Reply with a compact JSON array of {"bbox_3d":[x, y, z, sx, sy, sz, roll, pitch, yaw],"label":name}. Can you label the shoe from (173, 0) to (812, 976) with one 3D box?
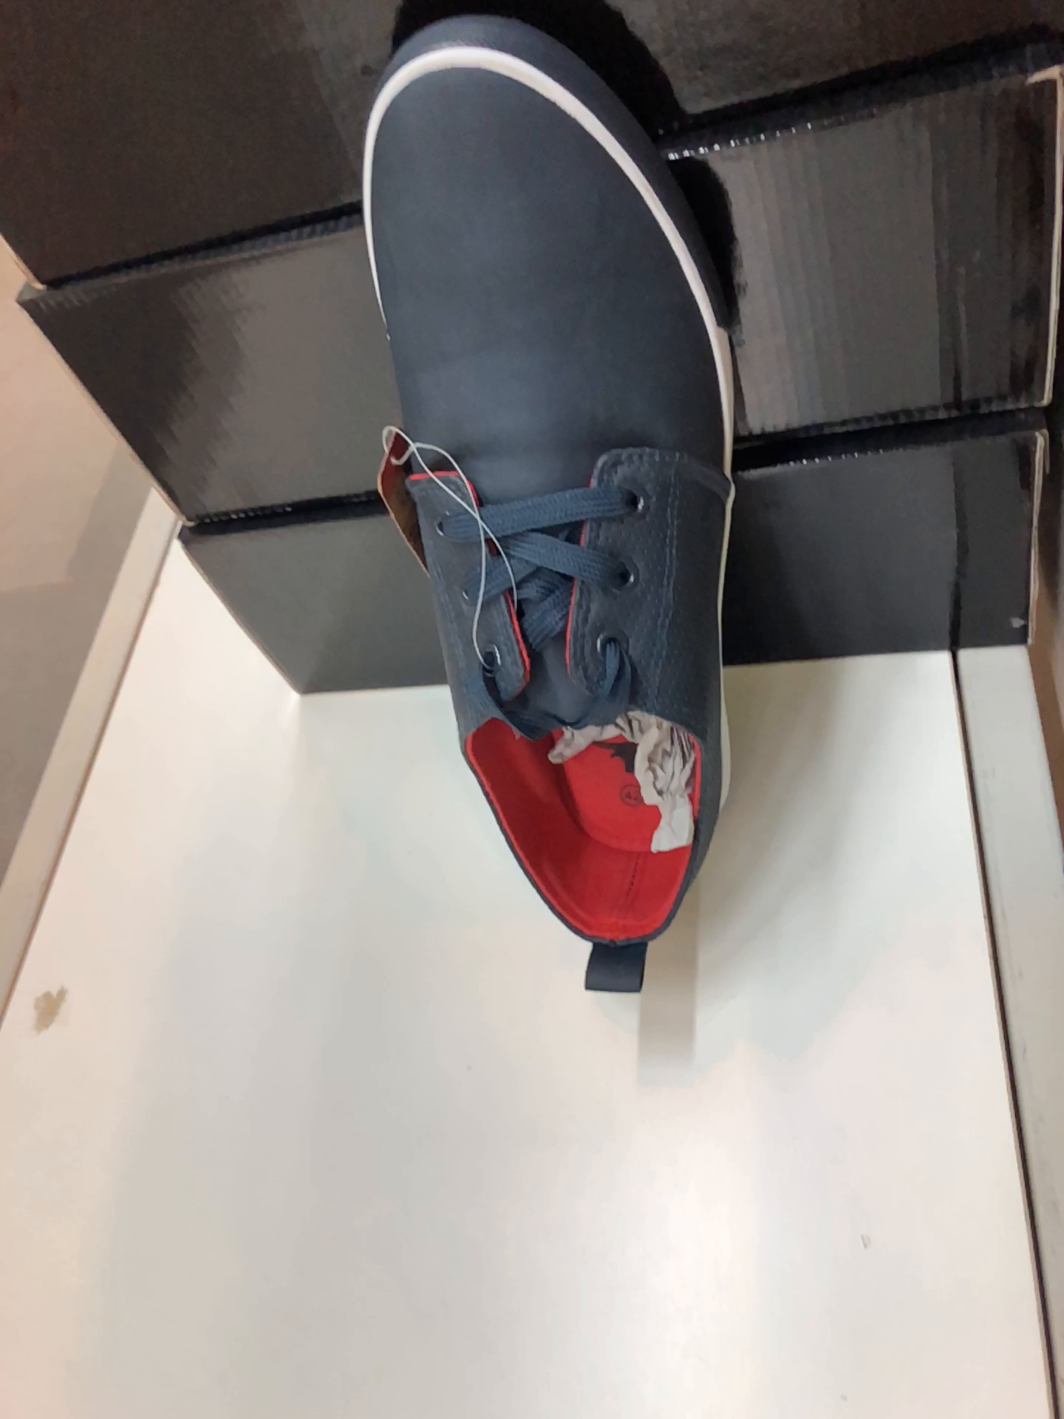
[{"bbox_3d":[0.009,-0.059,0.361,0.103,0.268,0.101,-2,29,24],"label":"shoe"}]
